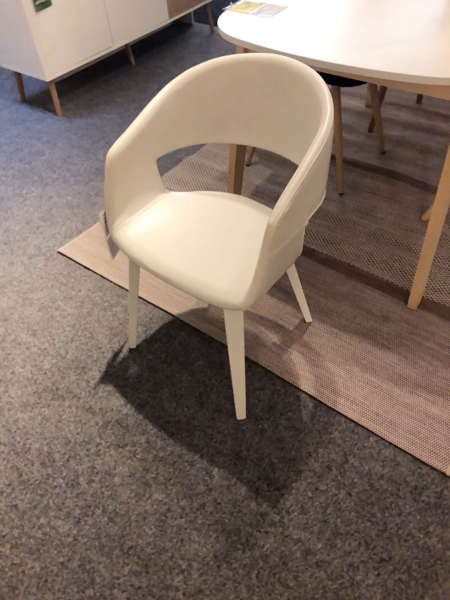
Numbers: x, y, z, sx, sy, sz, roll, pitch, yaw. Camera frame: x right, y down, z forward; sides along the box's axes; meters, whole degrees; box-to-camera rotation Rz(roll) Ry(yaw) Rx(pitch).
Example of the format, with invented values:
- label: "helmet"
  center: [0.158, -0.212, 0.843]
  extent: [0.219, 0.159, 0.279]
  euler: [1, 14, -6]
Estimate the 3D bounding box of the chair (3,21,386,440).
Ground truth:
- label: "chair"
  center: [-0.031, -0.178, 1.277]
  extent: [0.550, 0.756, 0.563]
  euler: [27, 54, 26]
